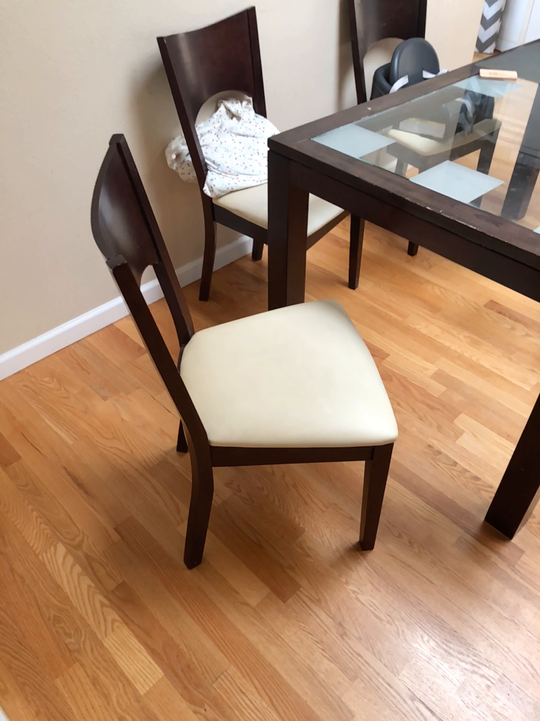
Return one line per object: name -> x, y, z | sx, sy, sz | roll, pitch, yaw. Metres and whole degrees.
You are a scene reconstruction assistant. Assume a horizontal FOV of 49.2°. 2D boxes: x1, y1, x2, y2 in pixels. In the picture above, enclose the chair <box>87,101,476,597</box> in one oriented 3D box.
chair -> -0.031, -0.014, 1.352 | 0.570, 0.895, 0.593 | -8, 42, -9
